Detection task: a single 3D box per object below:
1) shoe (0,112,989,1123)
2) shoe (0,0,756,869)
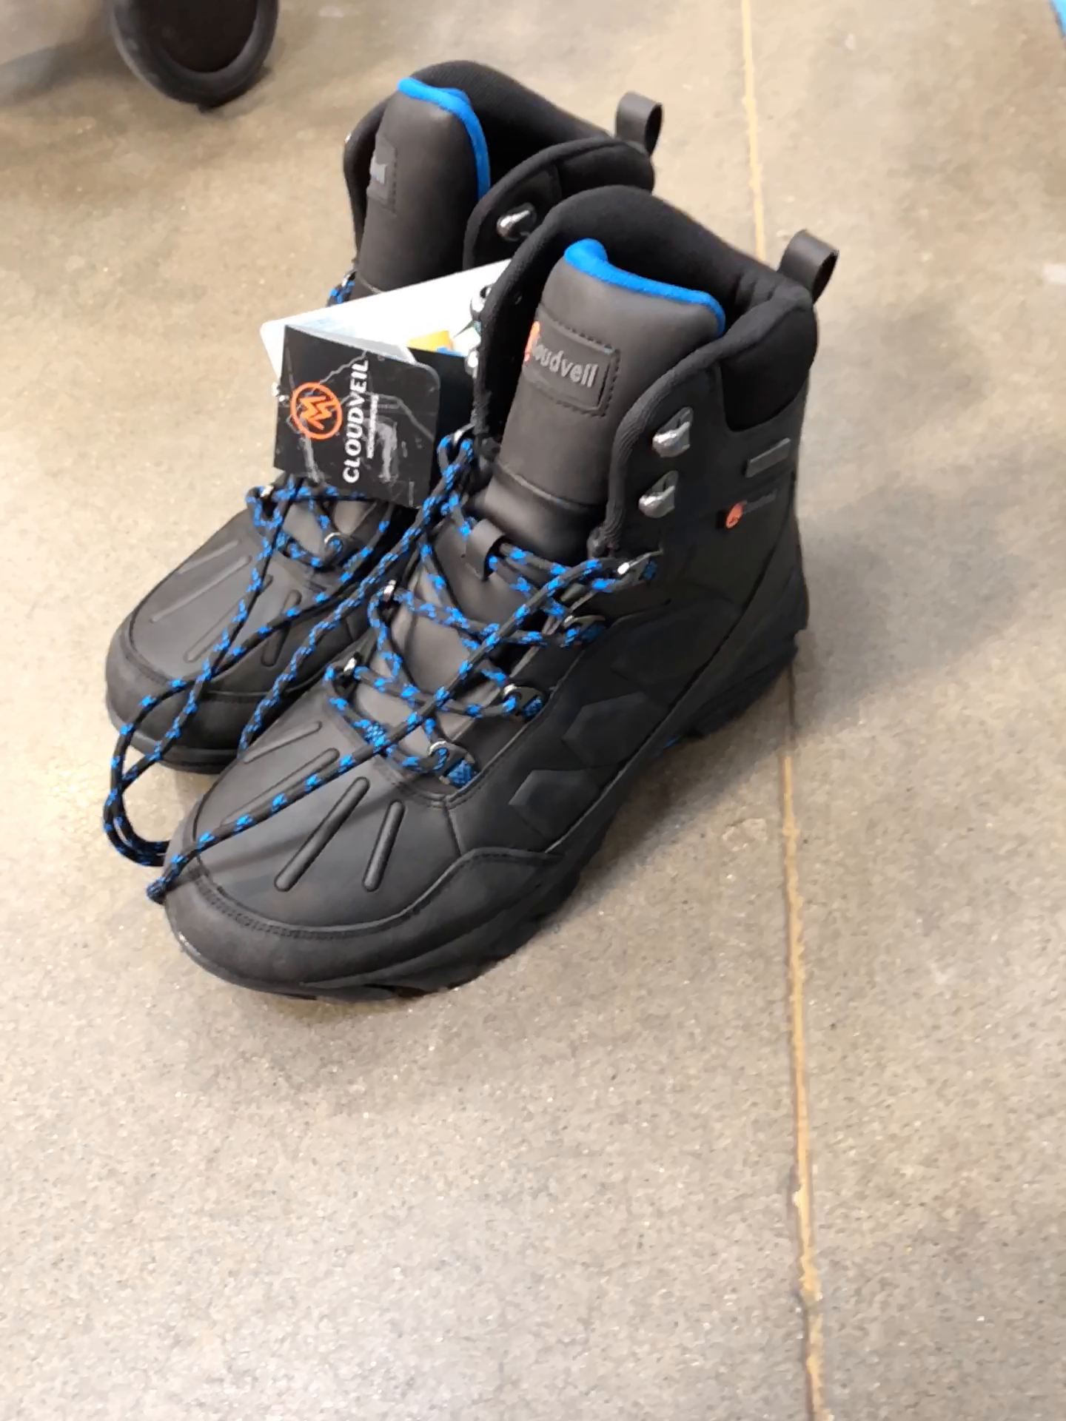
[{"bbox_3d":[-0.012,-0.028,0.419,0.300,0.210,0.120,-35,59,-18],"label":"shoe"},{"bbox_3d":[-0.061,-0.118,0.488,0.300,0.210,0.120,-40,61,-21],"label":"shoe"}]
